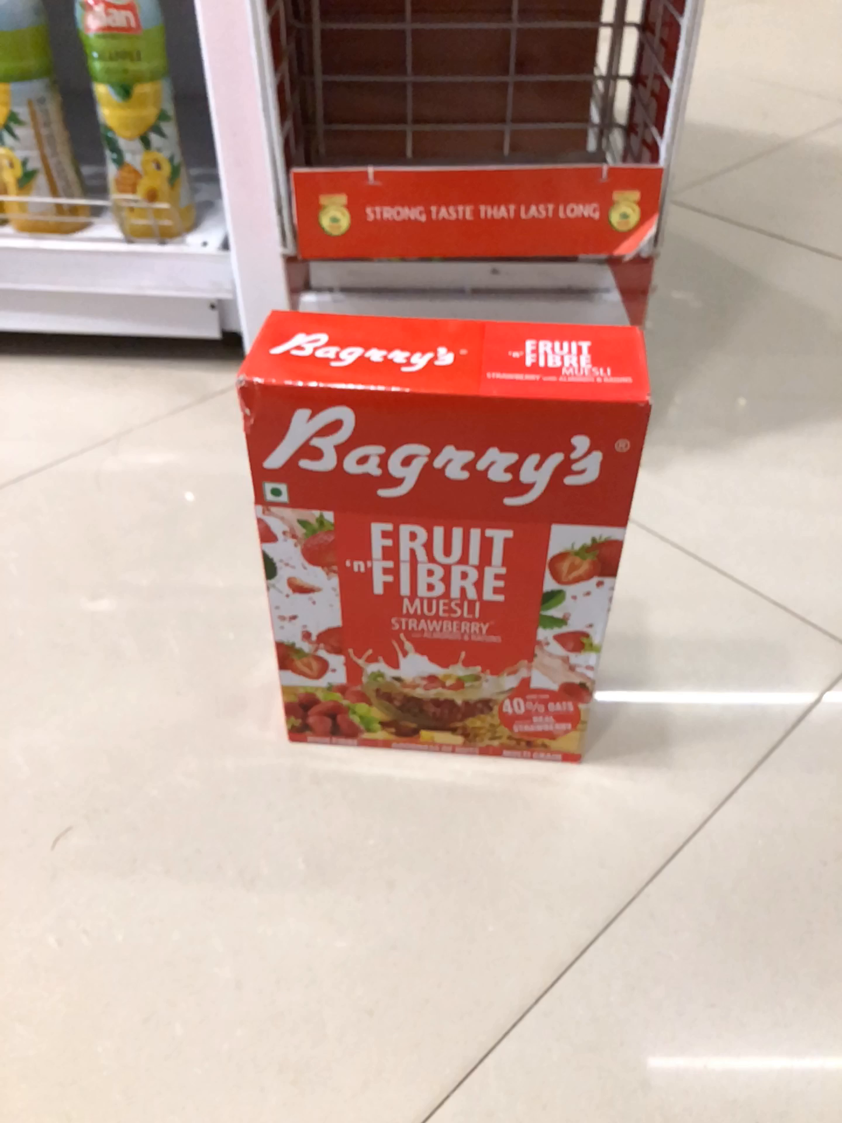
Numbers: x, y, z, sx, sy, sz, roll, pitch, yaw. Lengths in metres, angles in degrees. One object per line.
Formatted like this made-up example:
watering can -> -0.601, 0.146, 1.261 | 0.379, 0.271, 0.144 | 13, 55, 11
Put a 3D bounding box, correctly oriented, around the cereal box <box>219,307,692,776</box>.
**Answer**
cereal box -> 0.016, 0.002, 0.509 | 0.200, 0.258, 0.070 | 3, 42, 4
